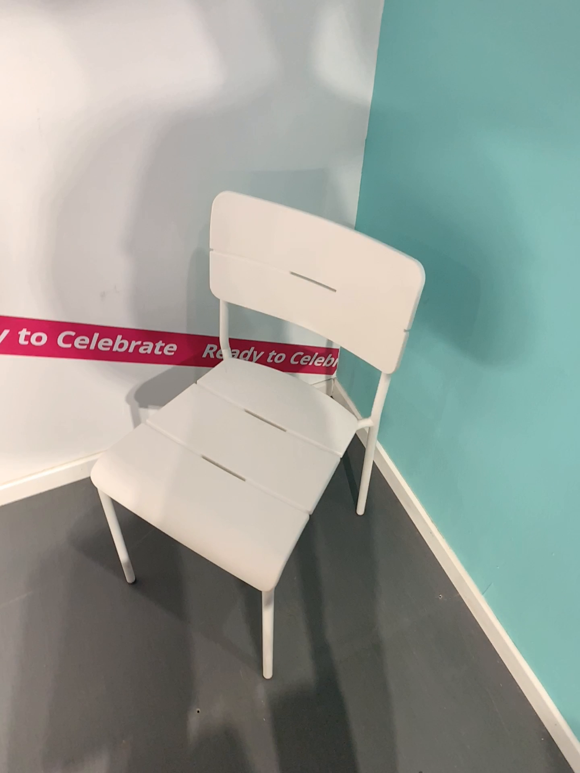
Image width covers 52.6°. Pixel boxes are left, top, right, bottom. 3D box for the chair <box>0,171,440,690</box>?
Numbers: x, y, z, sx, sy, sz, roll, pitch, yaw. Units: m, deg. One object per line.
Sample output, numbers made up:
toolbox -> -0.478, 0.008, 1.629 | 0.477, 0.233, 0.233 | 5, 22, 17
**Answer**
chair -> -0.092, 0.126, 1.112 | 0.430, 0.807, 0.451 | 26, 52, 20
